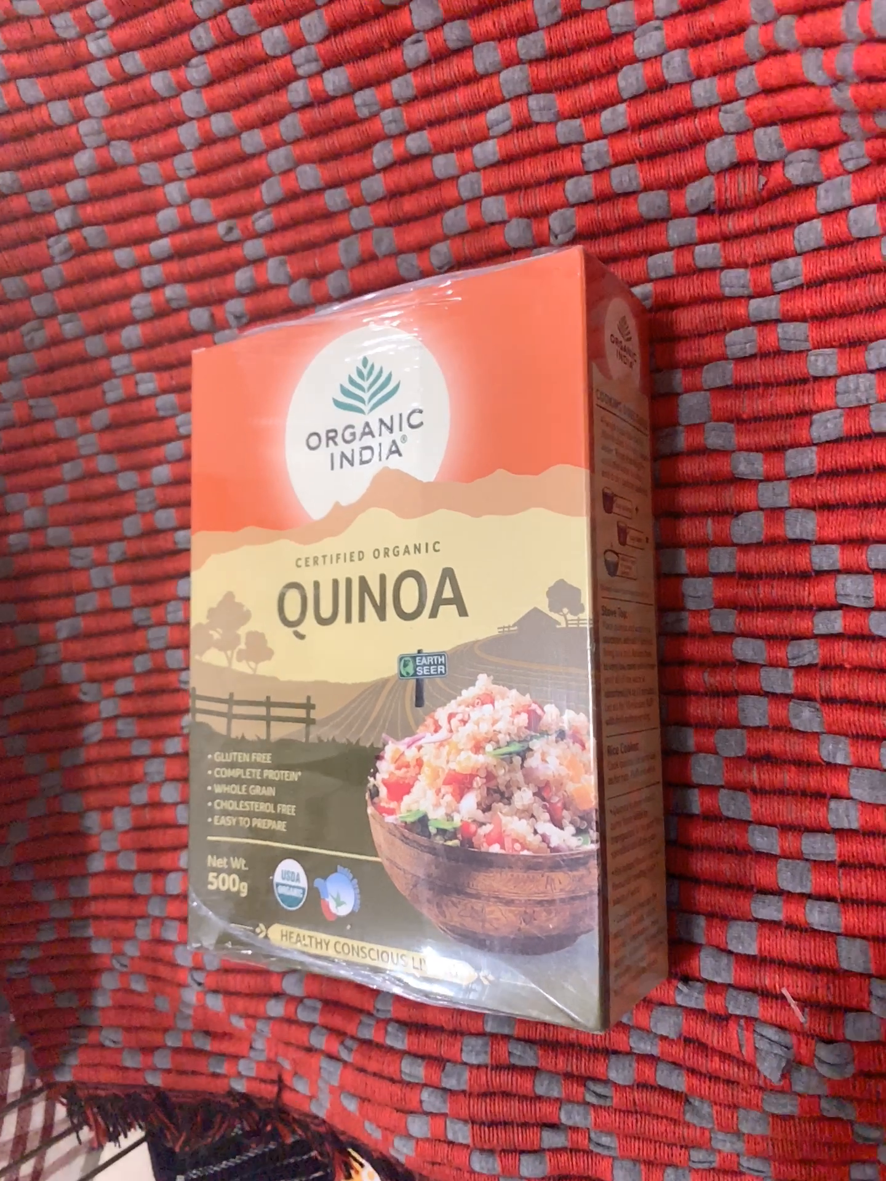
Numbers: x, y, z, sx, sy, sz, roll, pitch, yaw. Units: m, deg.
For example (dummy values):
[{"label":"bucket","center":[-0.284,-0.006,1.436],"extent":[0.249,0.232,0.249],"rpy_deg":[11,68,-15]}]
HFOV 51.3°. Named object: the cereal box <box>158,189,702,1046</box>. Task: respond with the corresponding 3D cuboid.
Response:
[{"label":"cereal box","center":[-0.007,0.008,0.258],"extent":[0.131,0.070,0.180],"rpy_deg":[-4,86,32]}]
